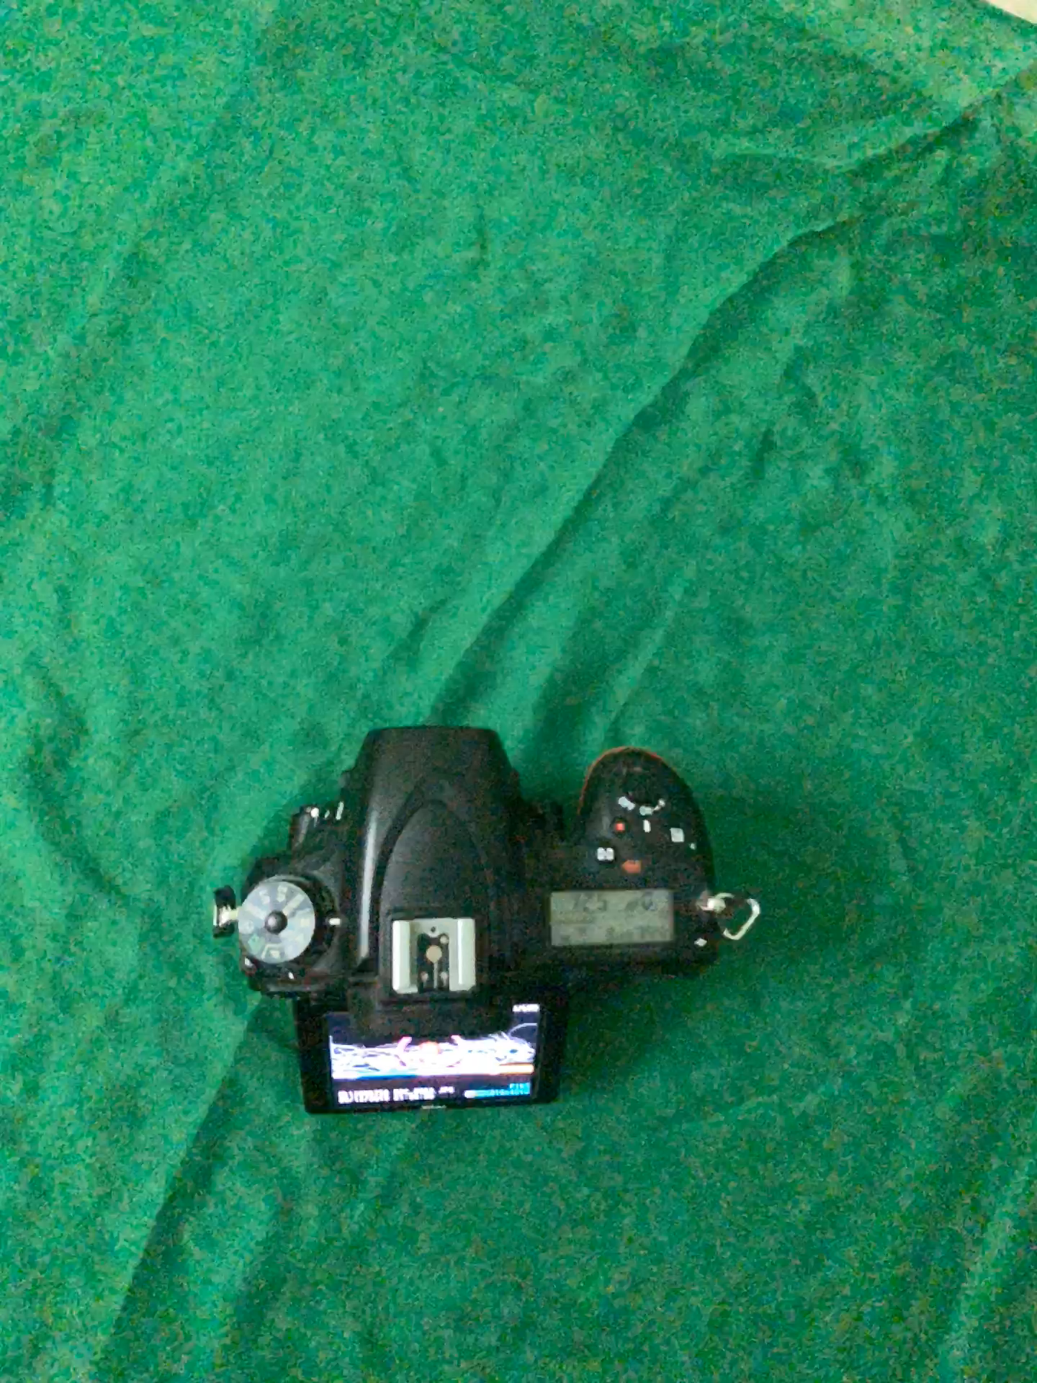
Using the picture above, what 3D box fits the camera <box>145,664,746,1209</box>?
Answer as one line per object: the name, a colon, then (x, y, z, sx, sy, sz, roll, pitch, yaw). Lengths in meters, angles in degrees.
camera: (-0.020, 0.066, 0.310, 0.142, 0.100, 0.128, 1, 80, -5)
